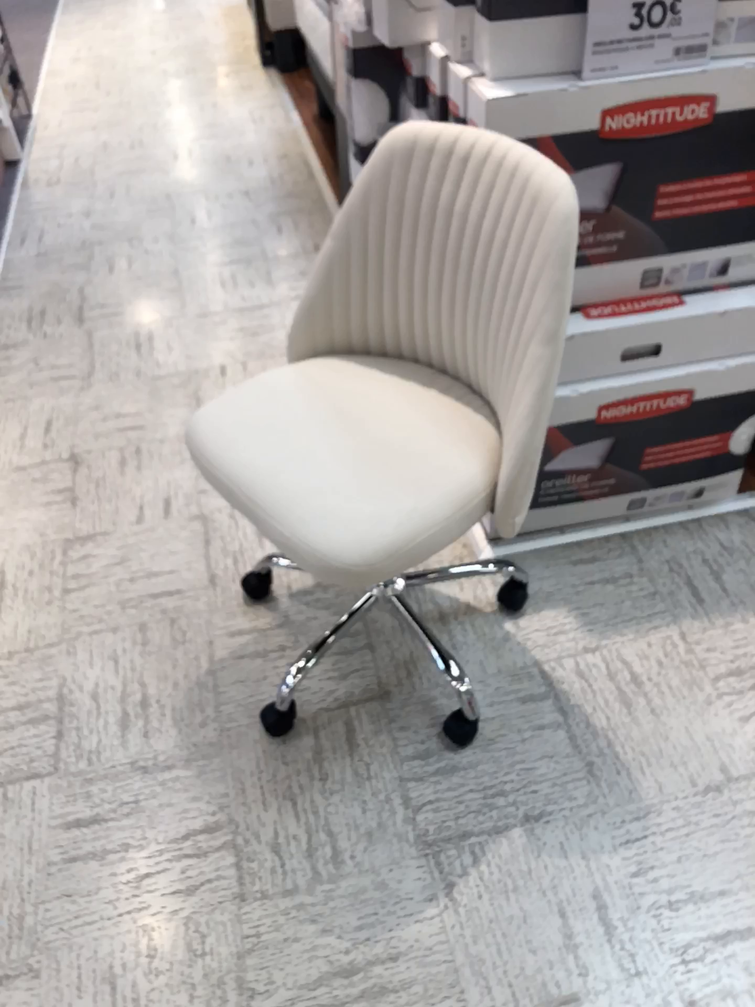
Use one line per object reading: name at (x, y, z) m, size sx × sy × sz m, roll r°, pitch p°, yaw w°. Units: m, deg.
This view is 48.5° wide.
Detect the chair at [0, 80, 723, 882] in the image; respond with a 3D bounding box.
chair at (-0.048, -0.071, 1.265) m, size 0.701 × 0.786 × 0.633 m, roll 32°, pitch 54°, yaw 32°
